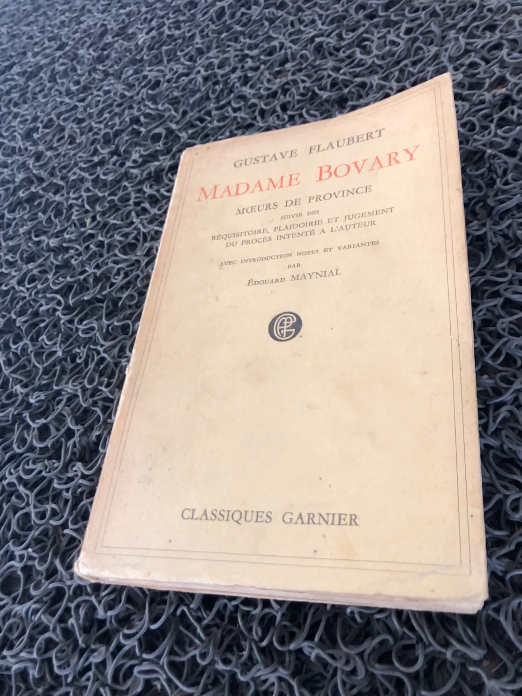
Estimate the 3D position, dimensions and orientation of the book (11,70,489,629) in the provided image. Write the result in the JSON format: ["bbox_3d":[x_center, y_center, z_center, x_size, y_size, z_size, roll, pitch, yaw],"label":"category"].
[{"bbox_3d":[0.005,-0.011,0.201,0.124,0.035,0.181,-4,58,20],"label":"book"}]
